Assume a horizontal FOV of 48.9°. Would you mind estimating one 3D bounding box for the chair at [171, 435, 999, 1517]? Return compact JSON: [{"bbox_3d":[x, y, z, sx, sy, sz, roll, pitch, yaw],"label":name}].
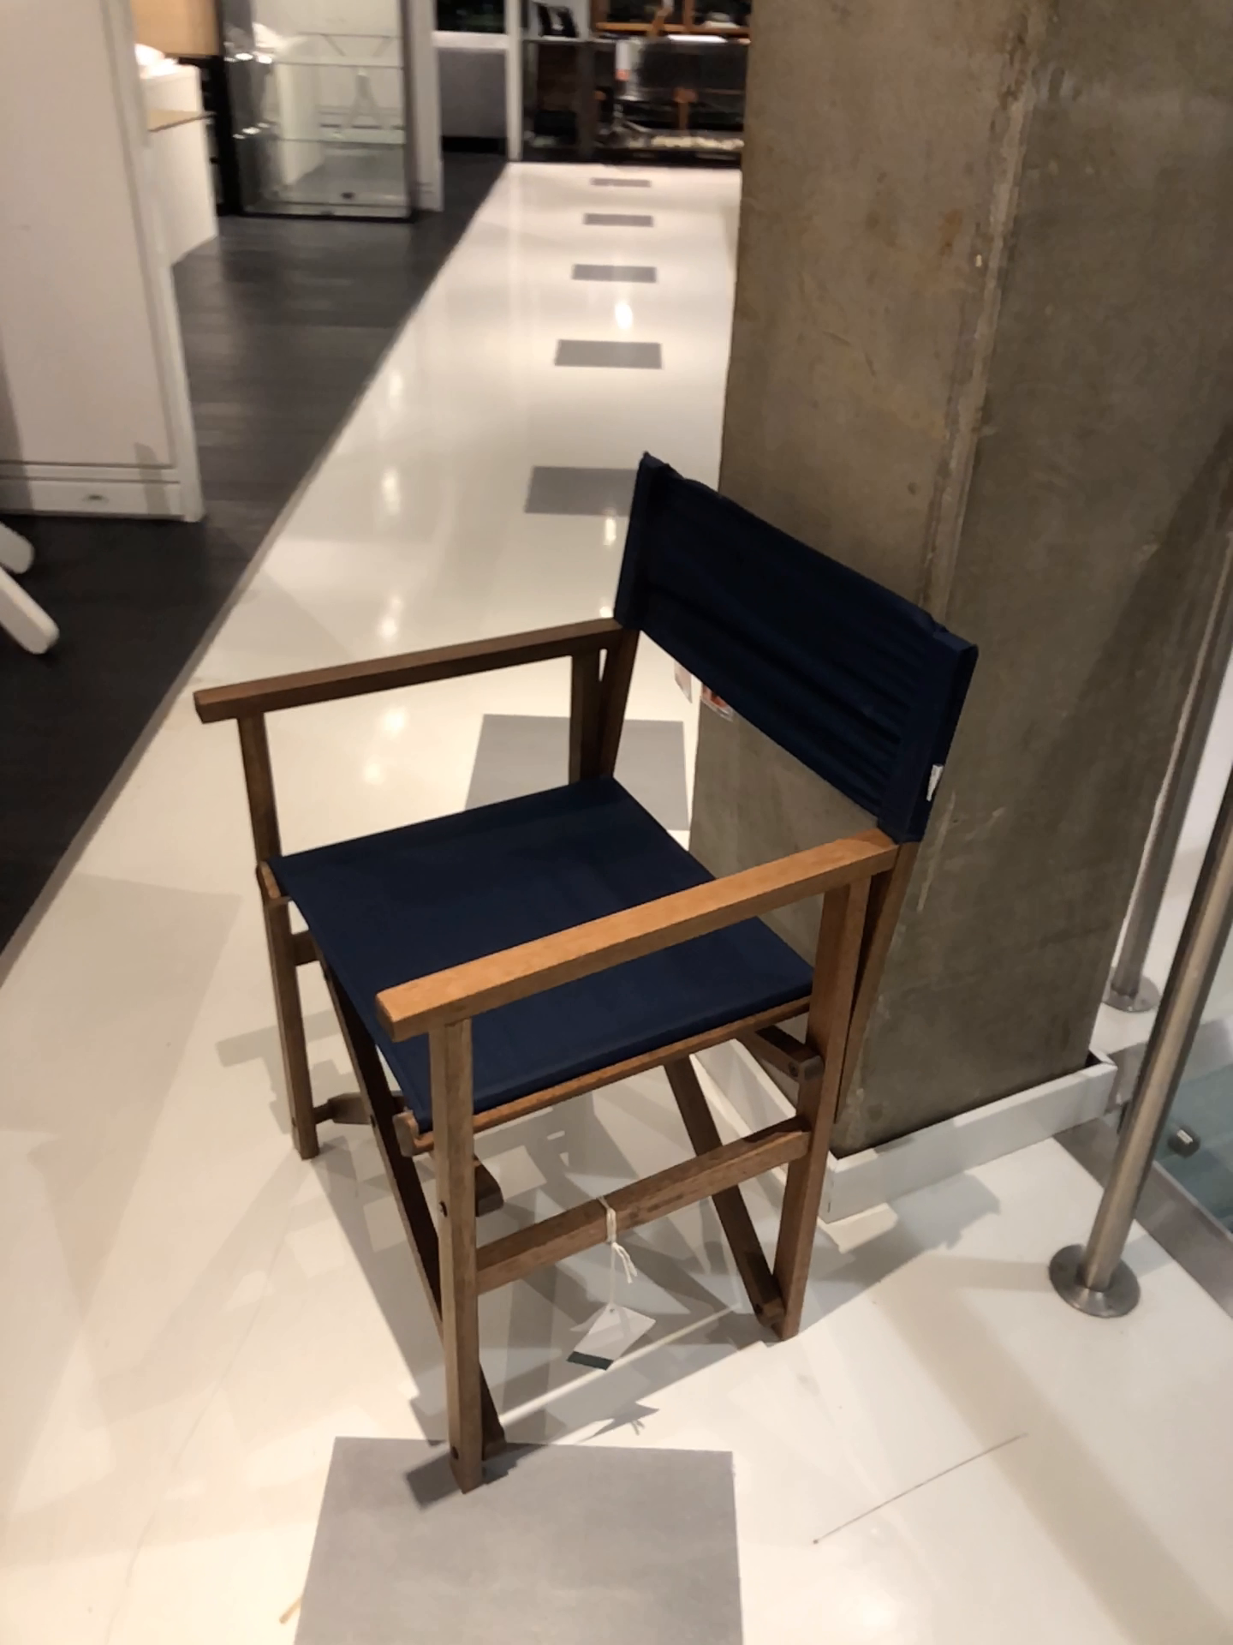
[{"bbox_3d":[-0.073,0.107,1.353,0.501,0.774,0.584,-14,35,-23],"label":"chair"}]
